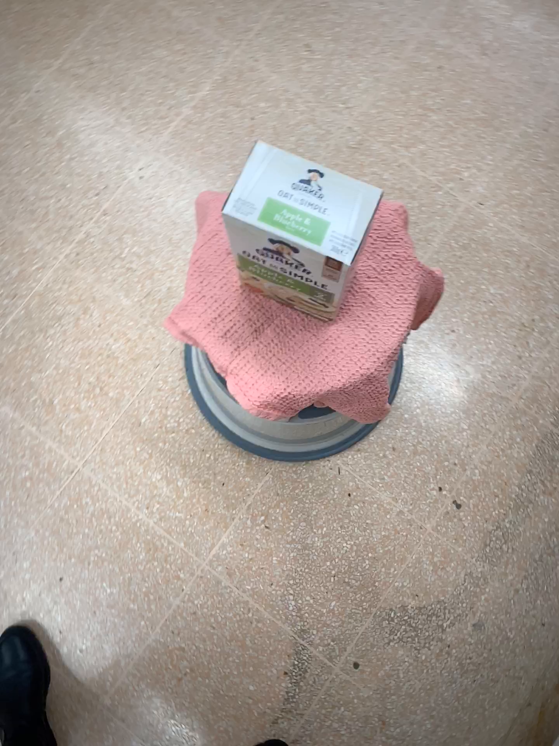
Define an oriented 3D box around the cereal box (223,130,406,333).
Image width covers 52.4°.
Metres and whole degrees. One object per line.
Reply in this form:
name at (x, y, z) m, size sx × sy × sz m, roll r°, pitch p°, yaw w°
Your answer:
cereal box at (0.033, -0.137, 0.614) m, size 0.140 × 0.210 × 0.090 m, roll 24°, pitch 81°, yaw 5°
